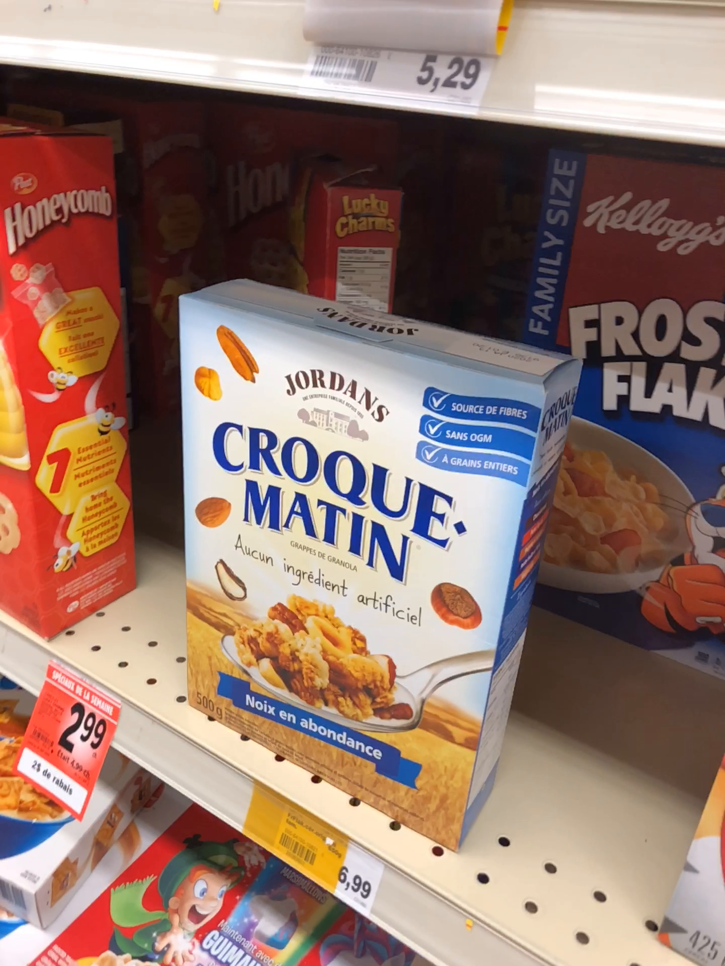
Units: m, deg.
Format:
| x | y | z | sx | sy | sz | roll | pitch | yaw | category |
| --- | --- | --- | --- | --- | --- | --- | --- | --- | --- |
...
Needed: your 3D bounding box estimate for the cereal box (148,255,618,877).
| x | y | z | sx | sy | sz | roll | pitch | yaw | category |
| --- | --- | --- | --- | --- | --- | --- | --- | --- | --- |
| -0.008 | 0.040 | 0.395 | 0.200 | 0.258 | 0.050 | 19 | 31 | 26 | cereal box |
